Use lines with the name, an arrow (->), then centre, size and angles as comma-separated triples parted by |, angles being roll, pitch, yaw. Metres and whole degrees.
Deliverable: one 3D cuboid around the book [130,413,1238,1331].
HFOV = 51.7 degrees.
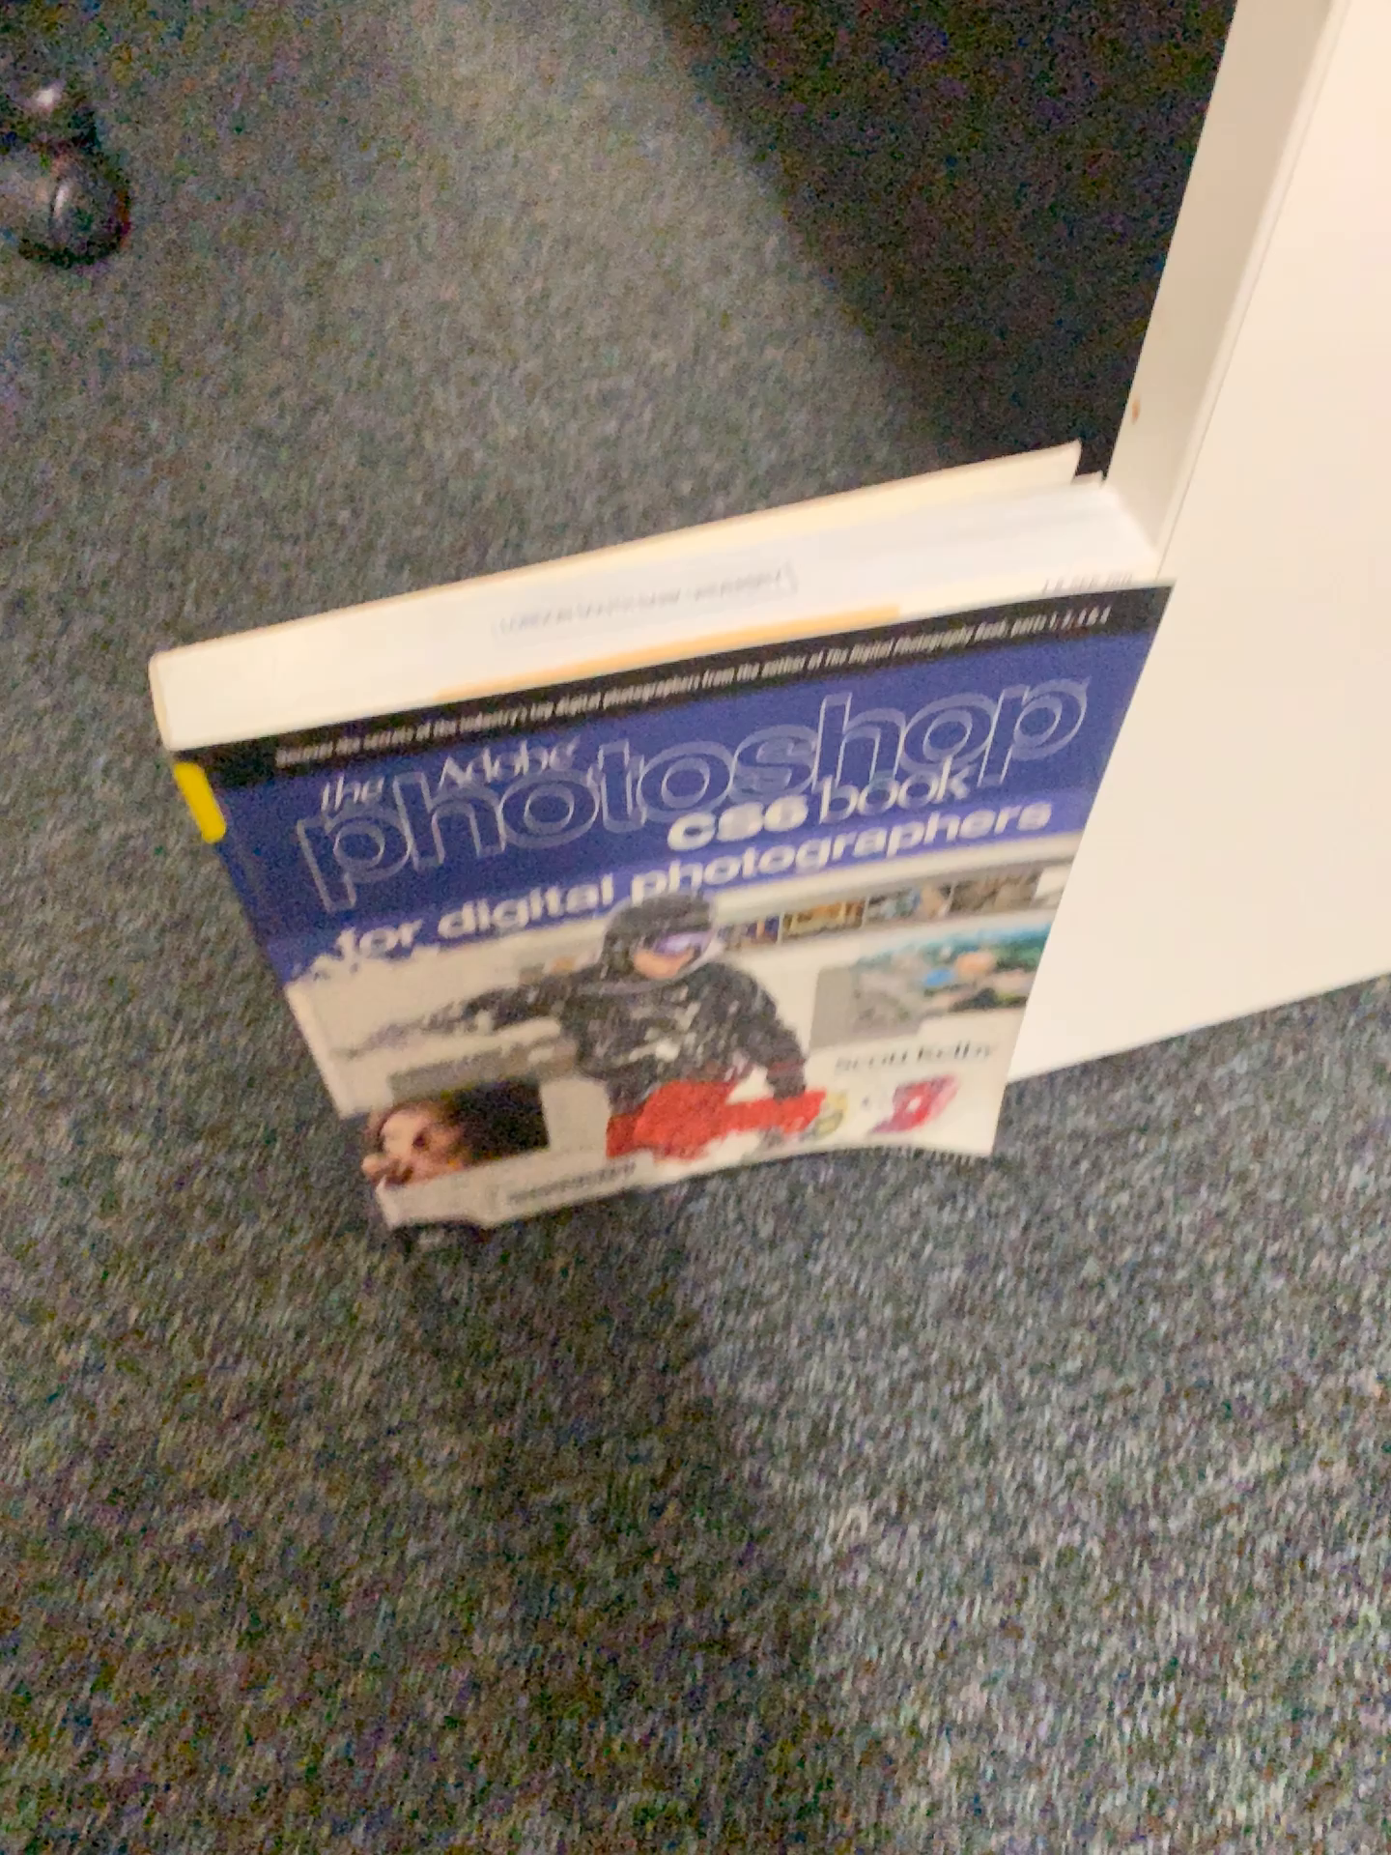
book -> 0.000, 0.011, 0.395 | 0.211, 0.275, 0.052 | -14, 57, -9
